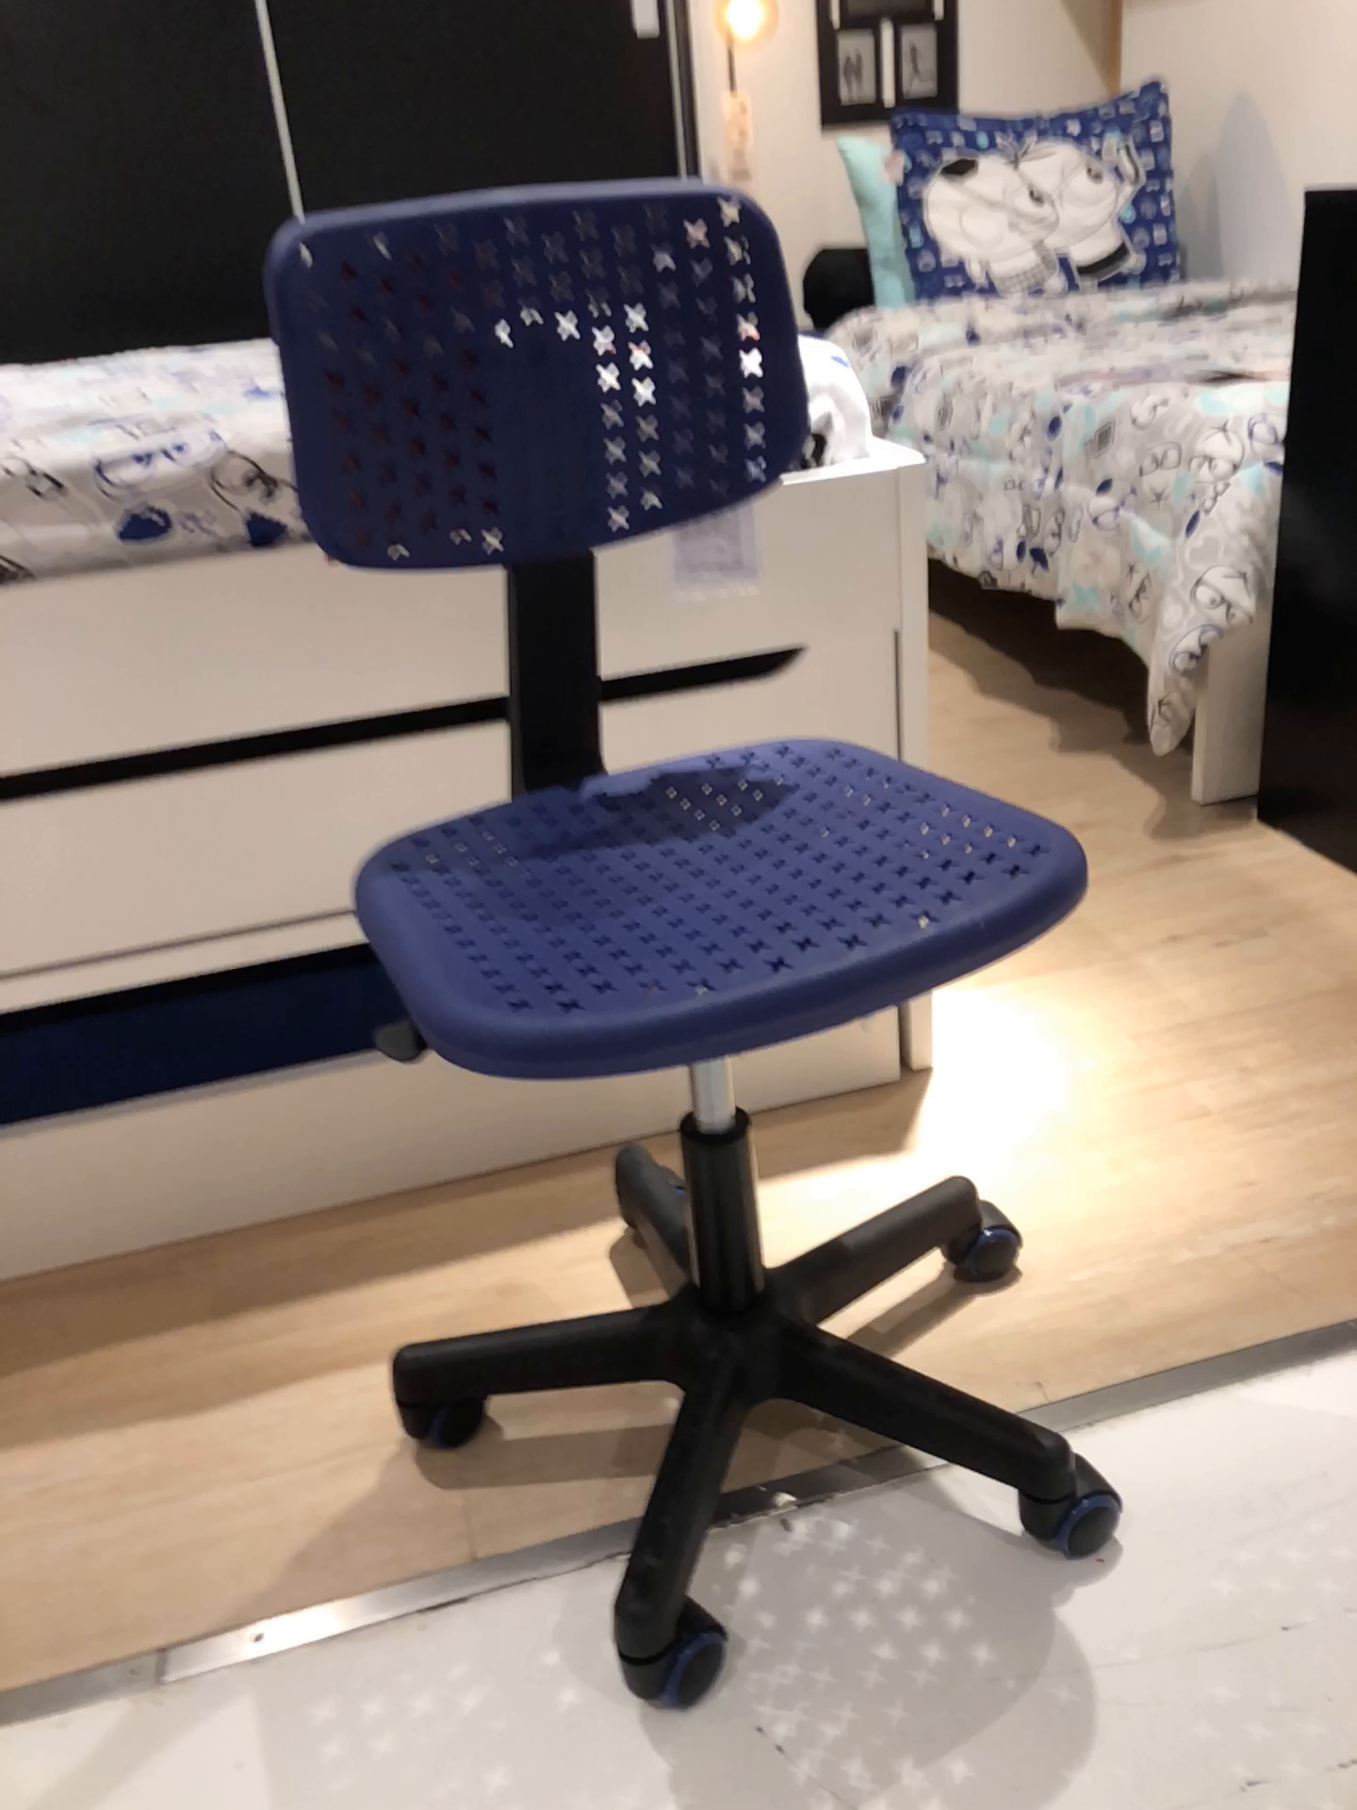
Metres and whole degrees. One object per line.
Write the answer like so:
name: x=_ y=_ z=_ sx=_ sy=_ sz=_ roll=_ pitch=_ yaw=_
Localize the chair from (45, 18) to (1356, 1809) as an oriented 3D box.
chair: x=0.017 y=-0.029 z=0.930 sx=0.551 sy=0.815 sz=0.523 roll=-13 pitch=26 yaw=-15
